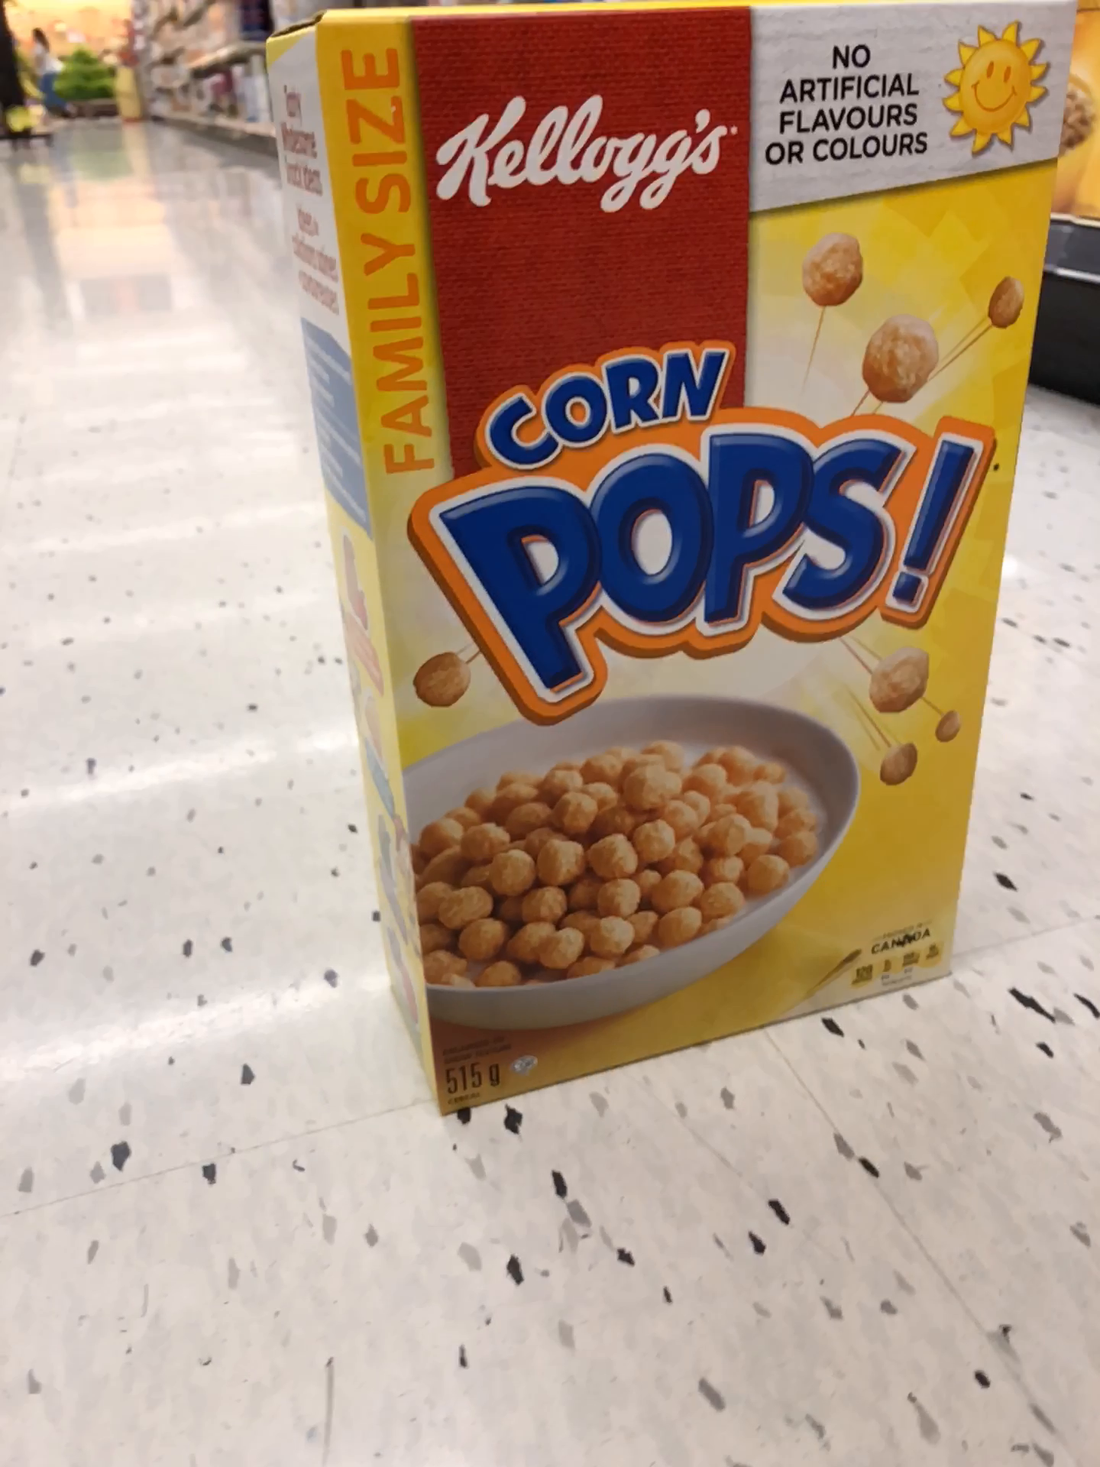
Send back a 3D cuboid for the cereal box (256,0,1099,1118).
[{"bbox_3d":[0.035,-0.055,0.396,0.200,0.318,0.101,-11,29,-16],"label":"cereal box"}]
